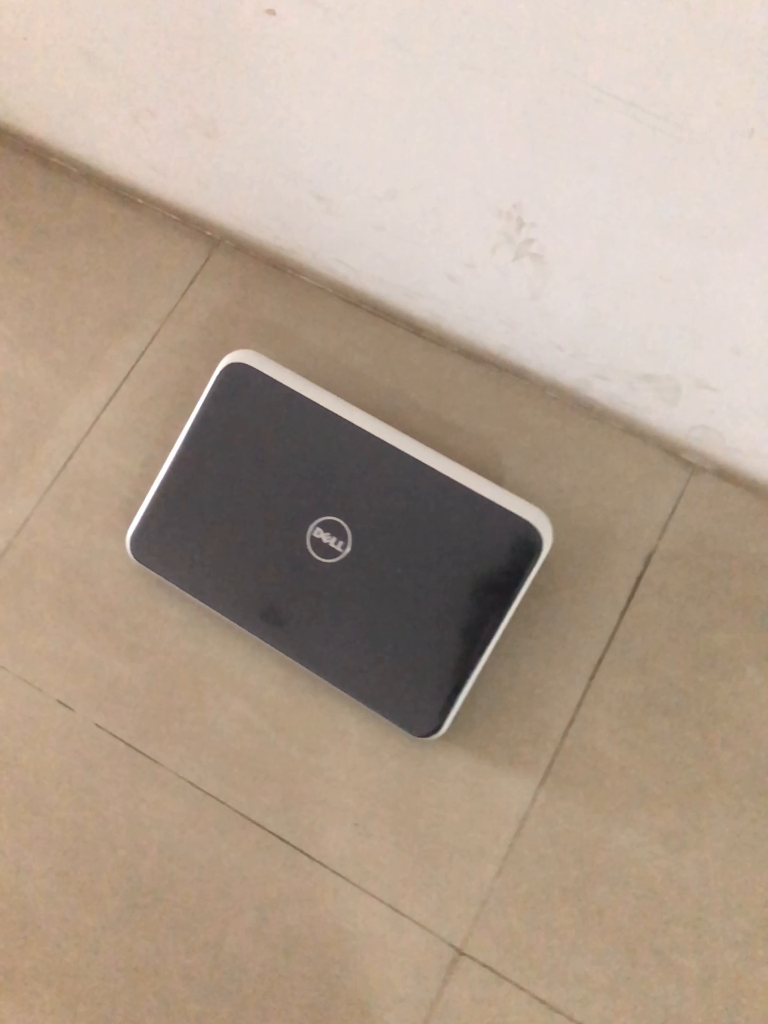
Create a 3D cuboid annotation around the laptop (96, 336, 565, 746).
[{"bbox_3d":[-0.049,0.025,0.814,0.360,0.080,0.234,30,79,9],"label":"laptop"}]
